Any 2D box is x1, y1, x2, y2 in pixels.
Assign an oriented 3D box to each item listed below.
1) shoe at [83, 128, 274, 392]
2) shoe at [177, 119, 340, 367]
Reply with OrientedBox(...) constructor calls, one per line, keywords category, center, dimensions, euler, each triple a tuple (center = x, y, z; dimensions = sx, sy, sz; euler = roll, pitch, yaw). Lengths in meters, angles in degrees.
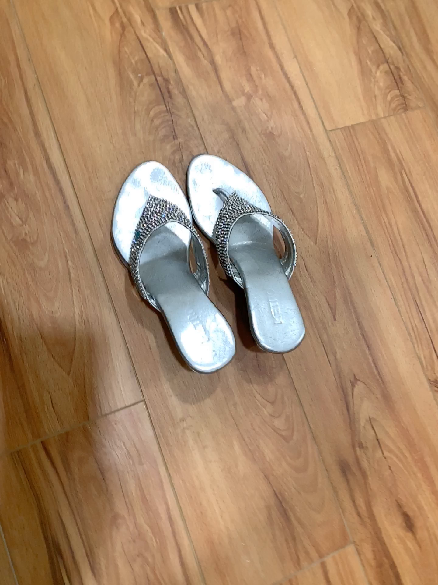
OrientedBox(category="shoe", center=(-0.044, -0.030, 0.442), dimensions=(0.095, 0.073, 0.228), euler=(-21, 84, -15))
OrientedBox(category="shoe", center=(0.034, -0.048, 0.460), dimensions=(0.085, 0.073, 0.228), euler=(-15, 83, -14))
